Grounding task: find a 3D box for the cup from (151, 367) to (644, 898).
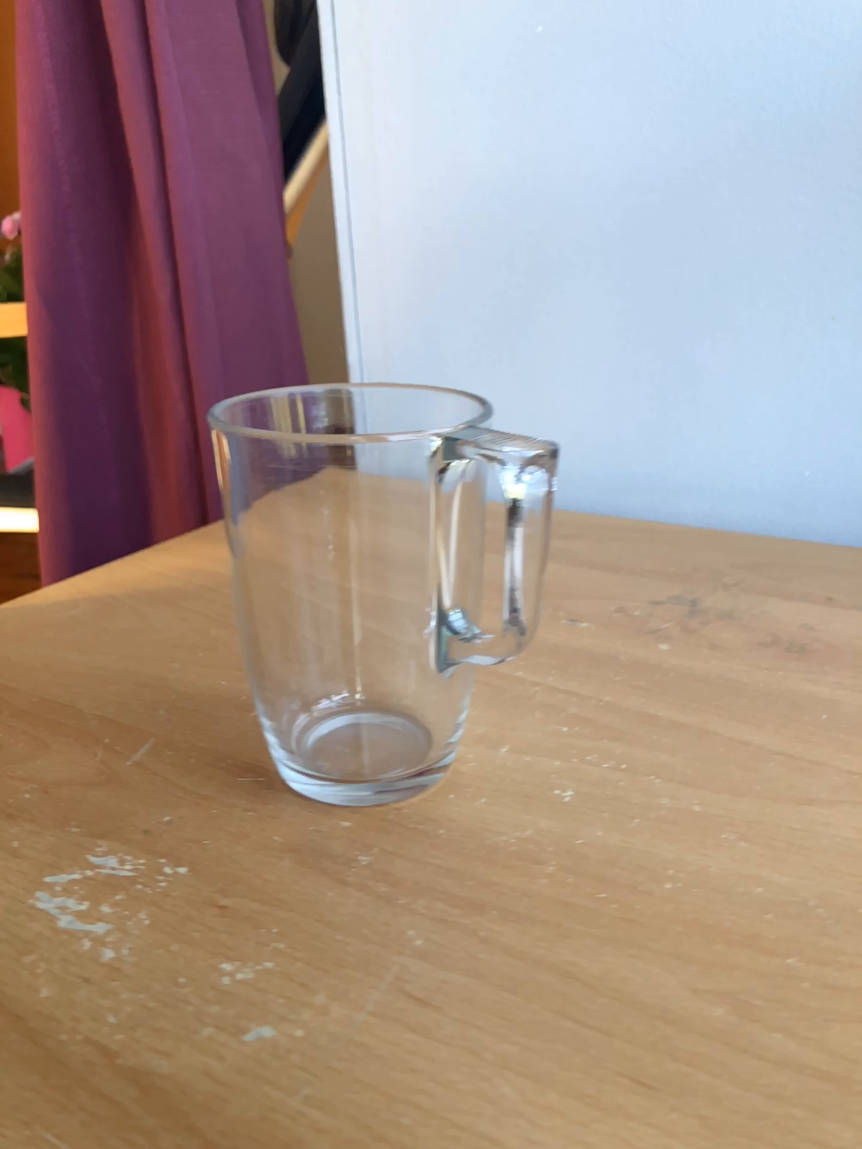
[{"bbox_3d":[-0.009,0.003,0.261,0.078,0.103,0.103,-18,24,-39],"label":"cup"}]
